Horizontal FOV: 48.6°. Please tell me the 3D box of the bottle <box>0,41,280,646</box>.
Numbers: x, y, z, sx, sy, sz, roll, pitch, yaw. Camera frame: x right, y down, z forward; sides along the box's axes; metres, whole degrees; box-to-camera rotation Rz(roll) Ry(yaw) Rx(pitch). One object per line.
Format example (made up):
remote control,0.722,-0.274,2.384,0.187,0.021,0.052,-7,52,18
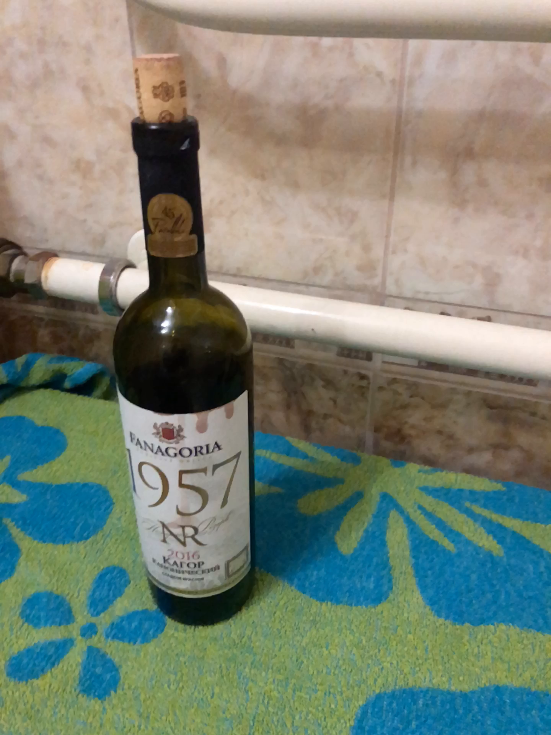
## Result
bottle,-0.051,0.007,0.331,0.080,0.318,0.080,-1,32,0
